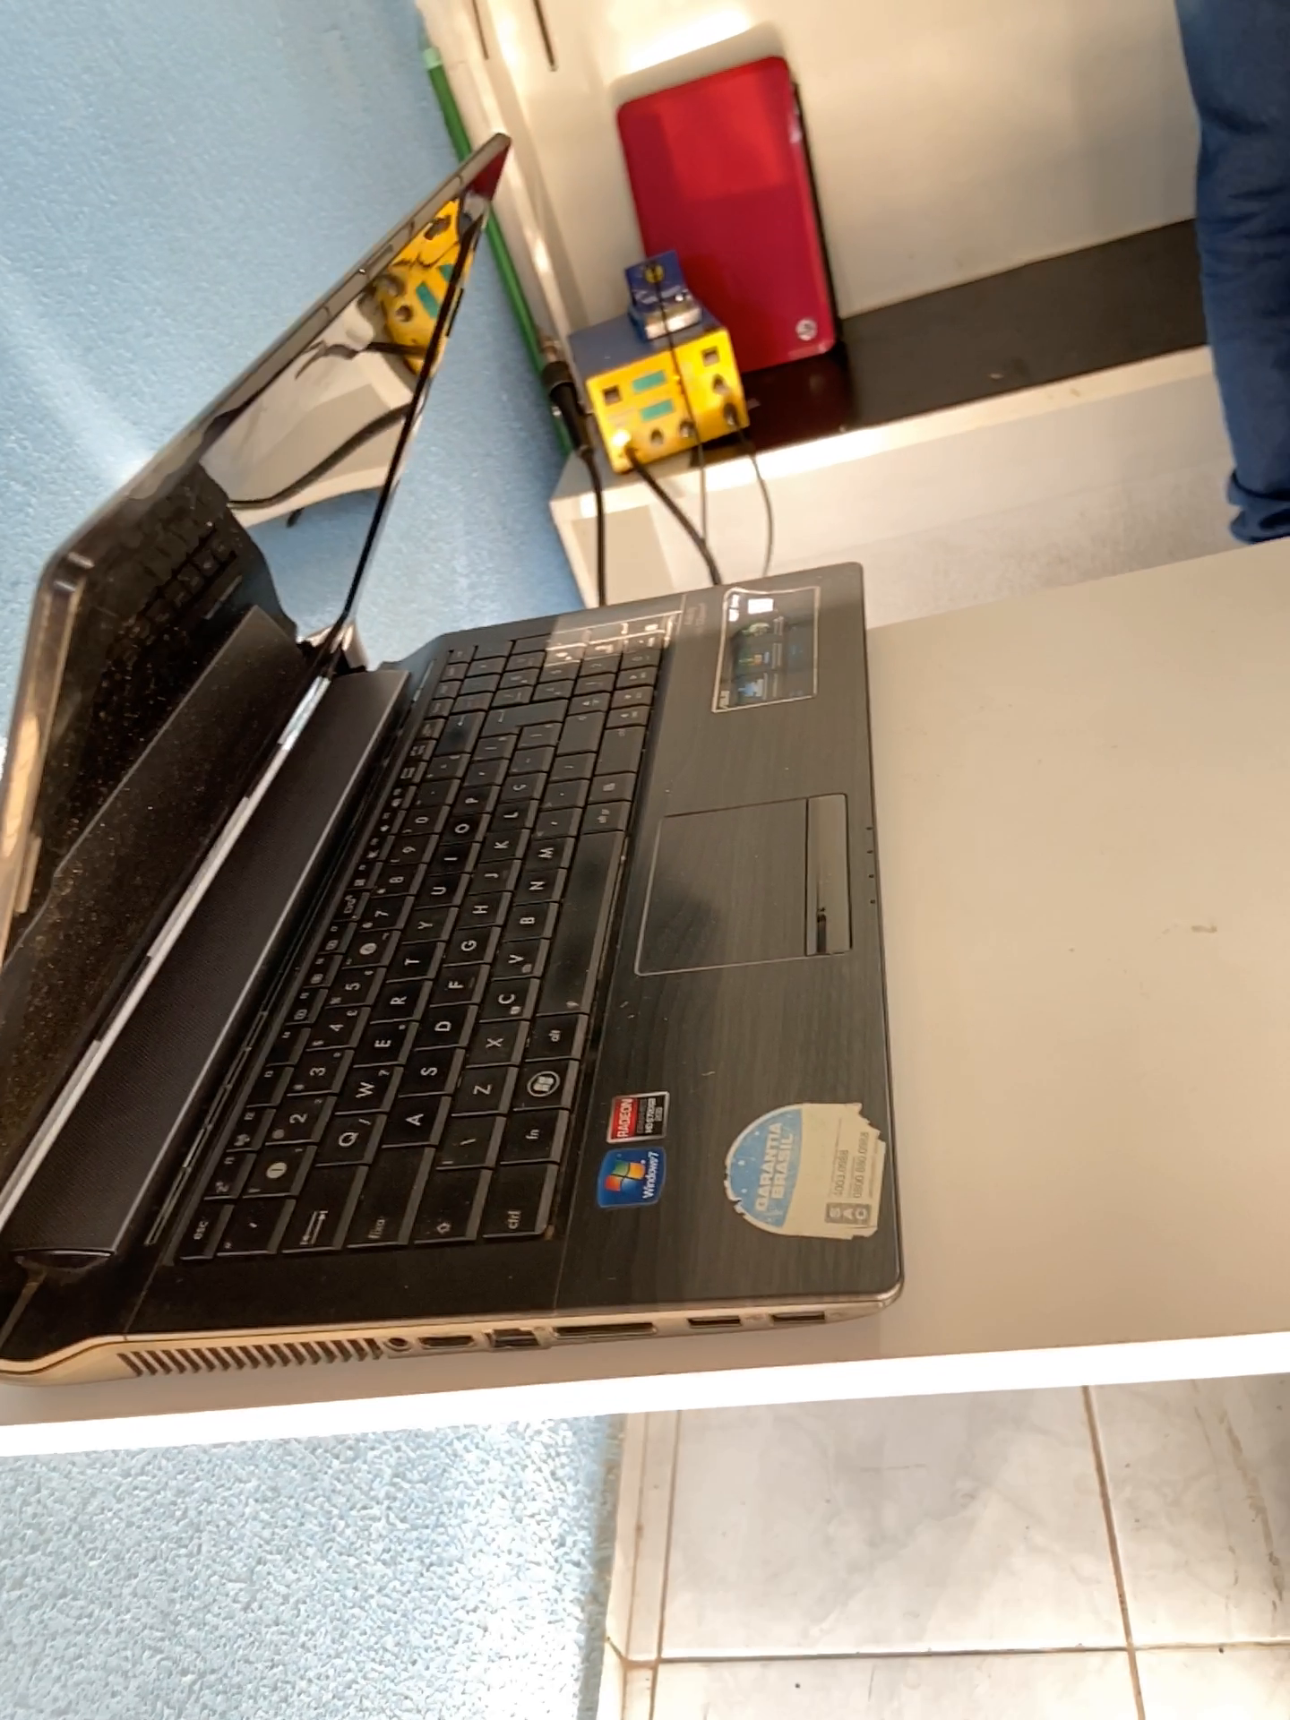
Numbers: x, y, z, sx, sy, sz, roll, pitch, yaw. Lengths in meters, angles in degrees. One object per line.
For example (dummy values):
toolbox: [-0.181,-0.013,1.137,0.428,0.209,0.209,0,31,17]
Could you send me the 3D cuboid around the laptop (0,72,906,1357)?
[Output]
laptop: [-0.072,-0.079,0.437,0.255,0.208,0.389,-10,35,15]
